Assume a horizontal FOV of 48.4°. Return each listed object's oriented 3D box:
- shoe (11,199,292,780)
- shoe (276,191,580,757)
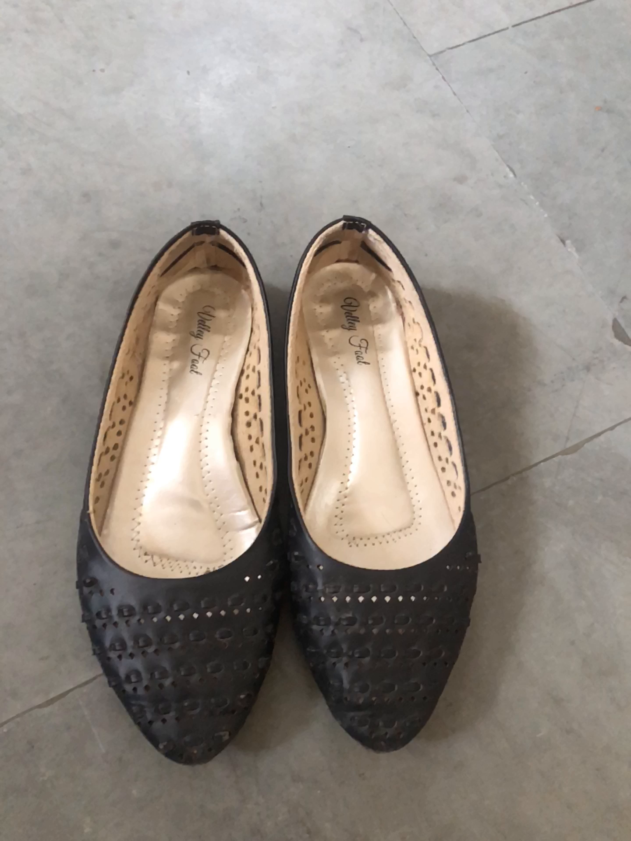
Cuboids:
[{"bbox_3d":[-0.061,0.021,0.314,0.095,0.062,0.242,0,69,-4],"label":"shoe"},{"bbox_3d":[0.037,0.017,0.328,0.095,0.073,0.242,-3,69,-5],"label":"shoe"}]
